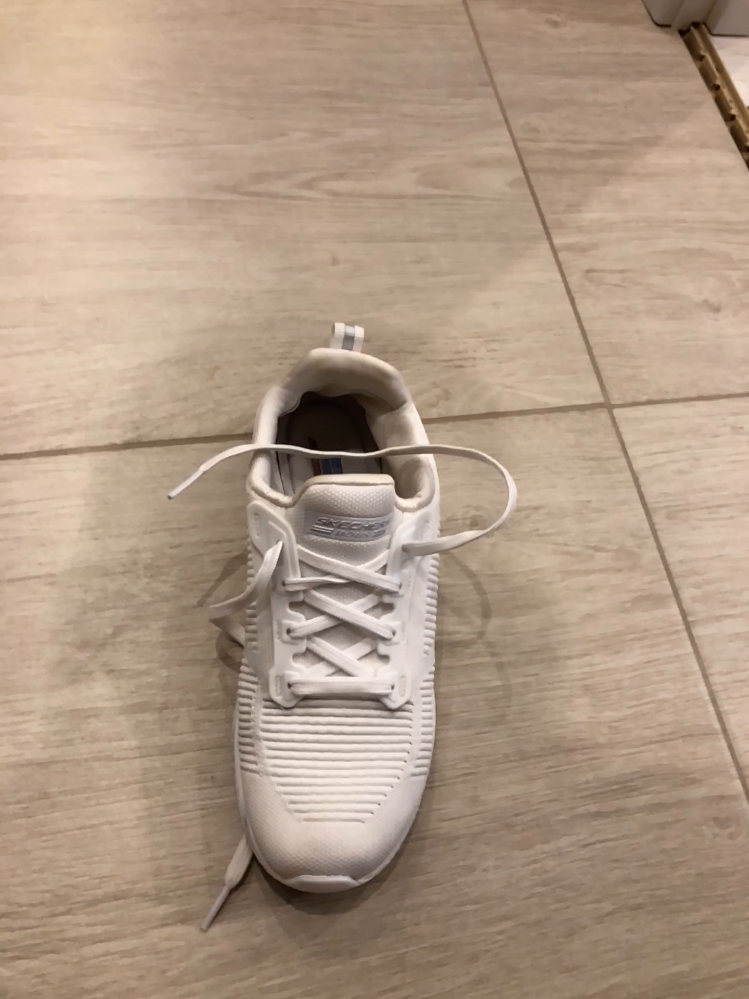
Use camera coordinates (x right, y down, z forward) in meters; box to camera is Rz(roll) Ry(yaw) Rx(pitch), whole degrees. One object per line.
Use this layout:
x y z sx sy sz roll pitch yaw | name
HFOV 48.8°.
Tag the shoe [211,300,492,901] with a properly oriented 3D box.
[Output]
-0.017 0.046 0.364 0.090 0.119 0.231 2 65 -8 | shoe
